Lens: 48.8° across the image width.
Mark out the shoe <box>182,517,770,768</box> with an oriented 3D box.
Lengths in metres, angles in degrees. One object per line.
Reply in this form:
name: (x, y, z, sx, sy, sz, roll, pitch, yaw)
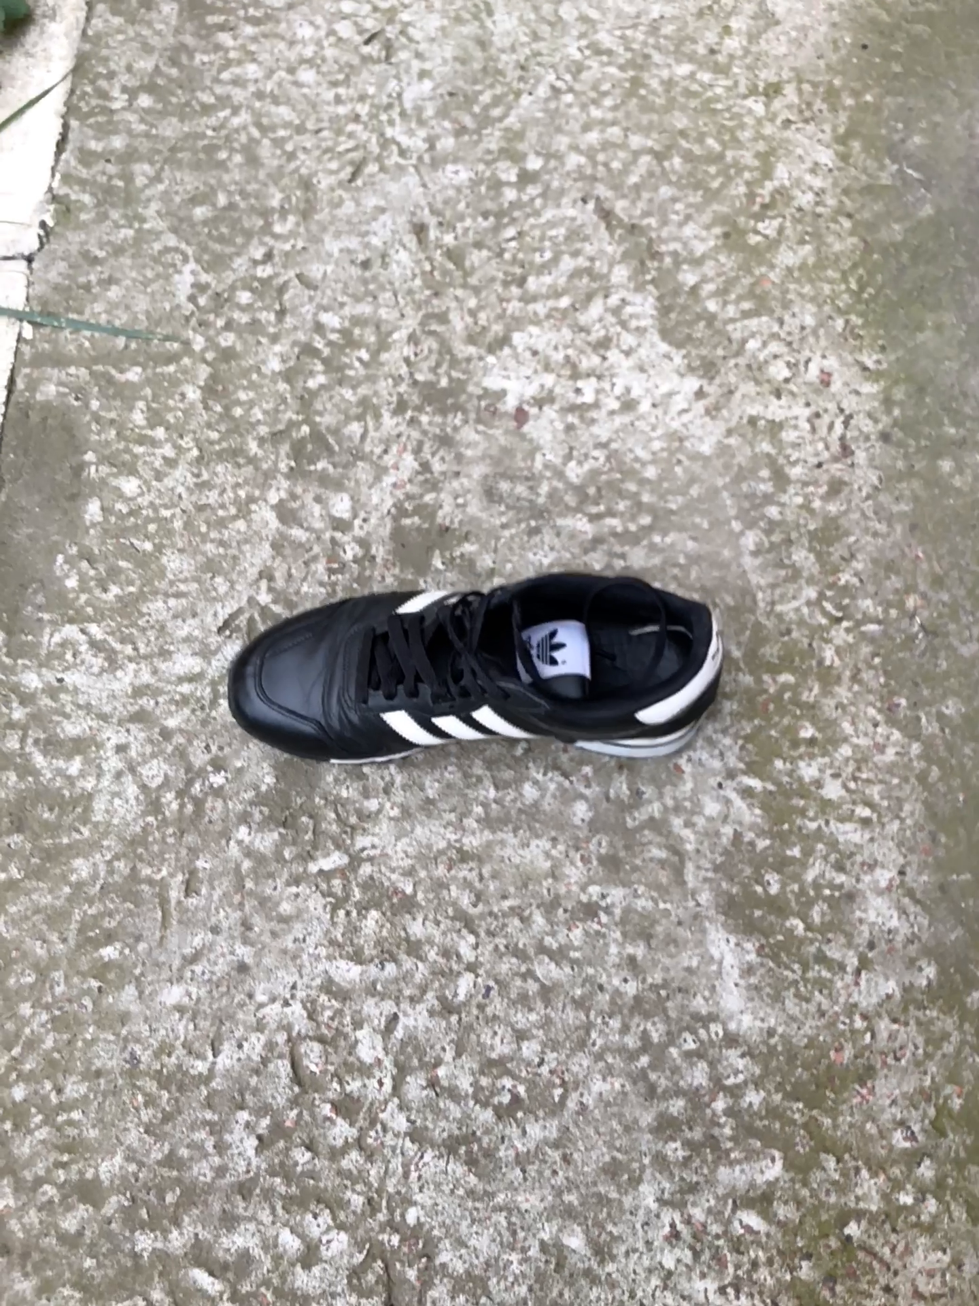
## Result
shoe: (-0.009, 0.000, 0.585, 0.280, 0.120, 0.100, 1, 72, -4)
